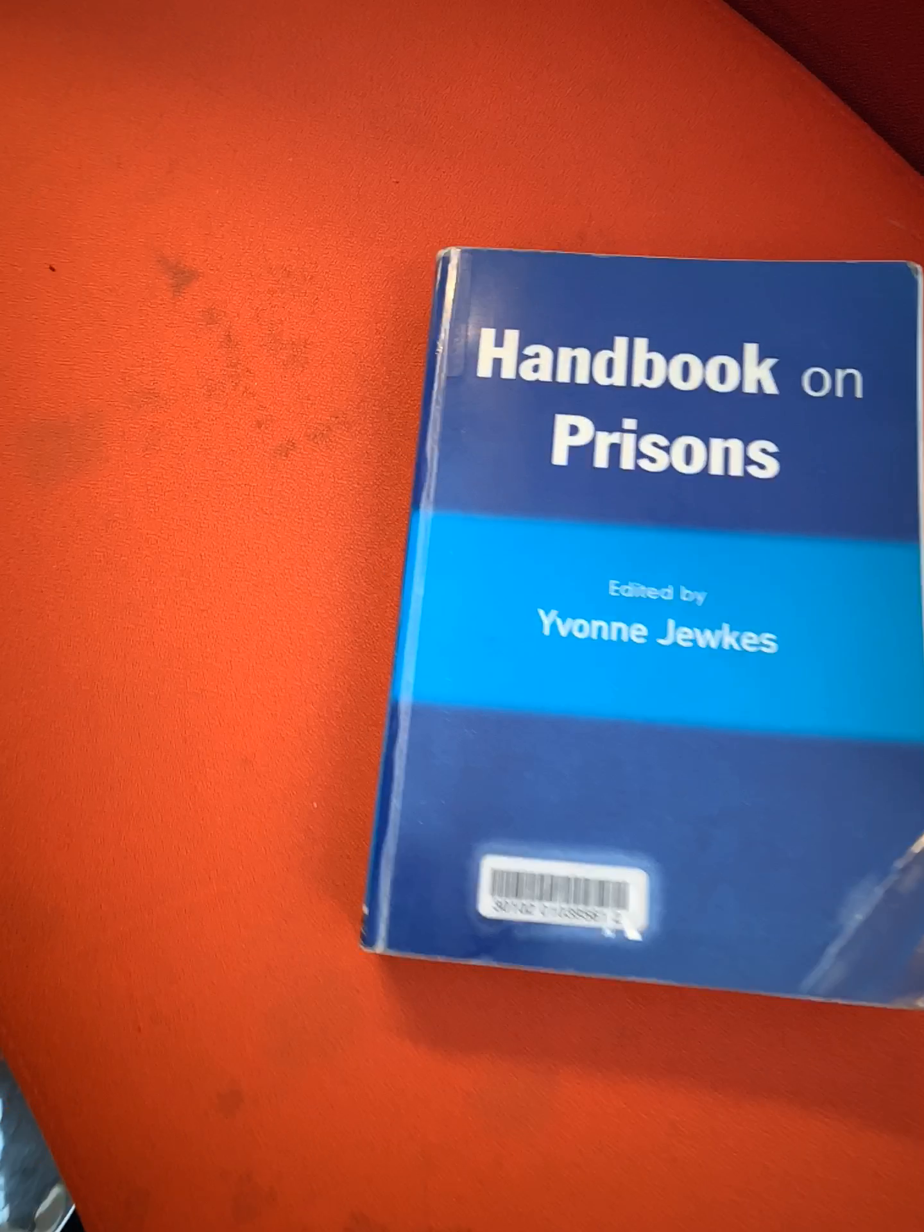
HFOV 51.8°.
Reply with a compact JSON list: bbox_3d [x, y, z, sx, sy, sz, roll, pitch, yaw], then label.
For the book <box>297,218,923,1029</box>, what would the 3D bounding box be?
[{"bbox_3d":[0.064,-0.009,0.347,0.200,0.060,0.271,4,72,4],"label":"book"}]
